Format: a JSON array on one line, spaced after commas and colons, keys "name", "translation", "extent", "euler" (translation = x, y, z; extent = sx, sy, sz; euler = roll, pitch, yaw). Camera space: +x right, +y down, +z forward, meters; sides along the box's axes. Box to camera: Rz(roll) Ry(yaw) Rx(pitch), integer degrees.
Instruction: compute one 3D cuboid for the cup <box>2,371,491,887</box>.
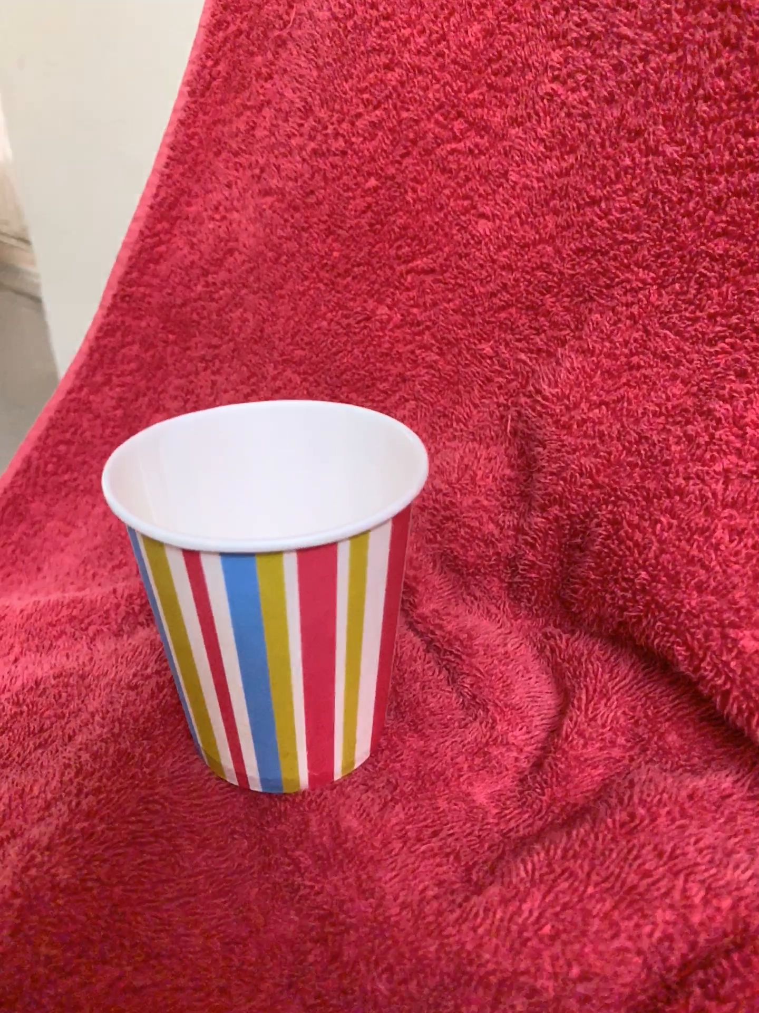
[{"name": "cup", "translation": [-0.023, 0.019, 0.177], "extent": [0.070, 0.069, 0.070], "euler": [-1, 28, 0]}]
